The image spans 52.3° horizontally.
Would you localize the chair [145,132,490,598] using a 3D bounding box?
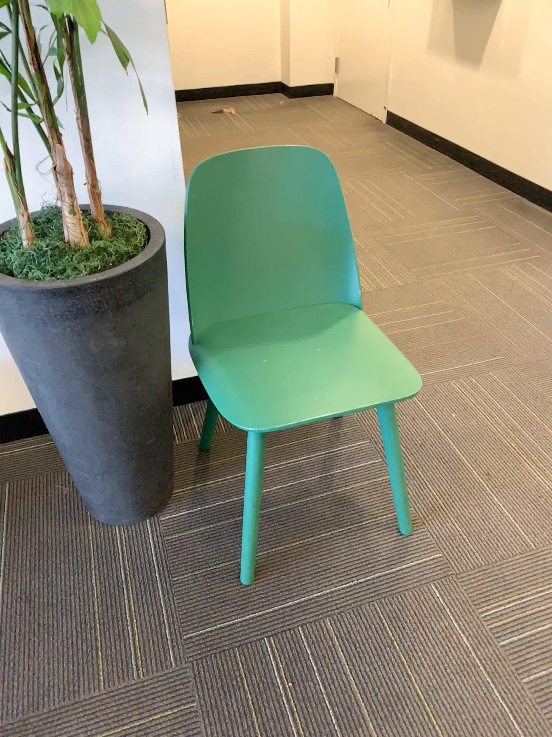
[{"bbox_3d":[0.008,-0.060,1.188,0.390,0.626,0.714,-11,38,-13],"label":"chair"}]
